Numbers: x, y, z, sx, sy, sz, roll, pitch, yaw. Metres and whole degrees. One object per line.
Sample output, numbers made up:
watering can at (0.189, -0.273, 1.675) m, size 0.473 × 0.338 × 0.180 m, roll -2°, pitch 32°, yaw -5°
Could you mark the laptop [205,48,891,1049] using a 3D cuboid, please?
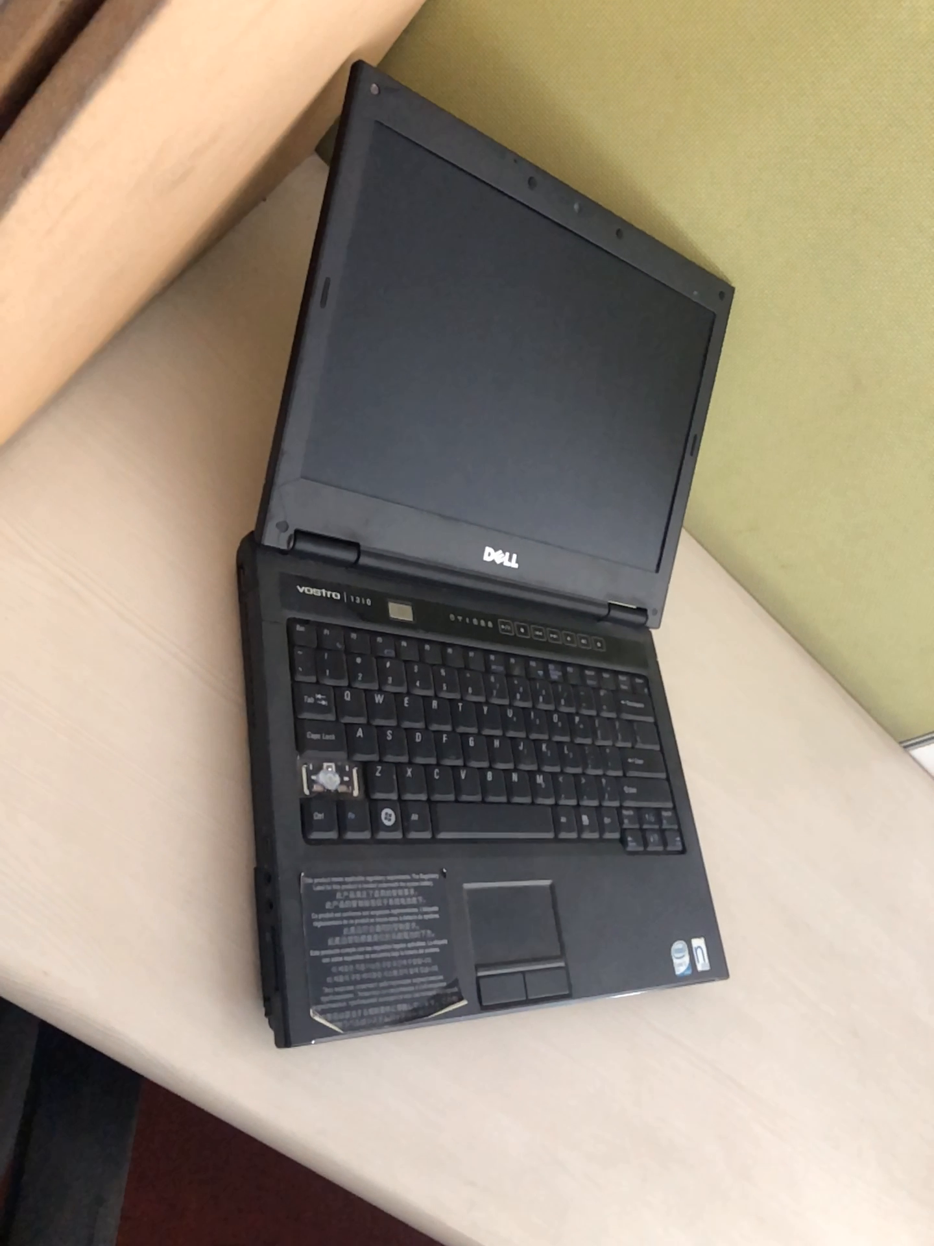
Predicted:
laptop at (0.039, -0.032, 0.555) m, size 0.306 × 0.125 × 0.431 m, roll 10°, pitch 63°, yaw -41°
